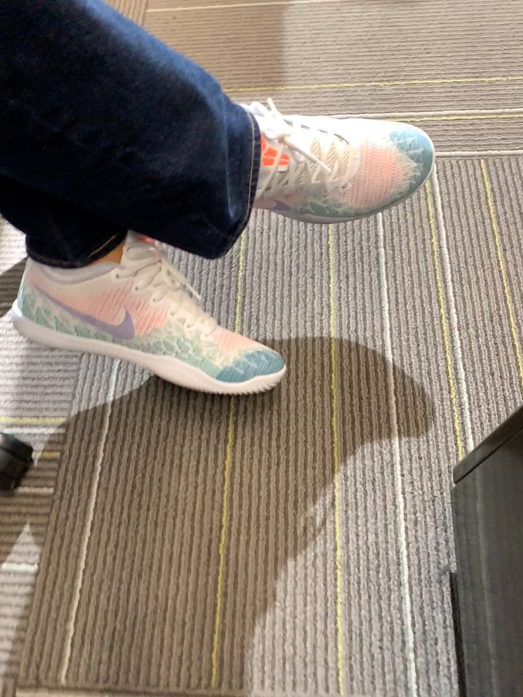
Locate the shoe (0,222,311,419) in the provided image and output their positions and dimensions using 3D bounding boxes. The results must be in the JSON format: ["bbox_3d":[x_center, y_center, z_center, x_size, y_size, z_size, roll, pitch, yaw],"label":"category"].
[{"bbox_3d":[-0.106,-0.036,0.540,0.286,0.108,0.115,10,37,10],"label":"shoe"}]

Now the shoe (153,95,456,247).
[{"bbox_3d":[0.036,-0.184,0.541,0.265,0.108,0.113,7,26,2],"label":"shoe"}]
